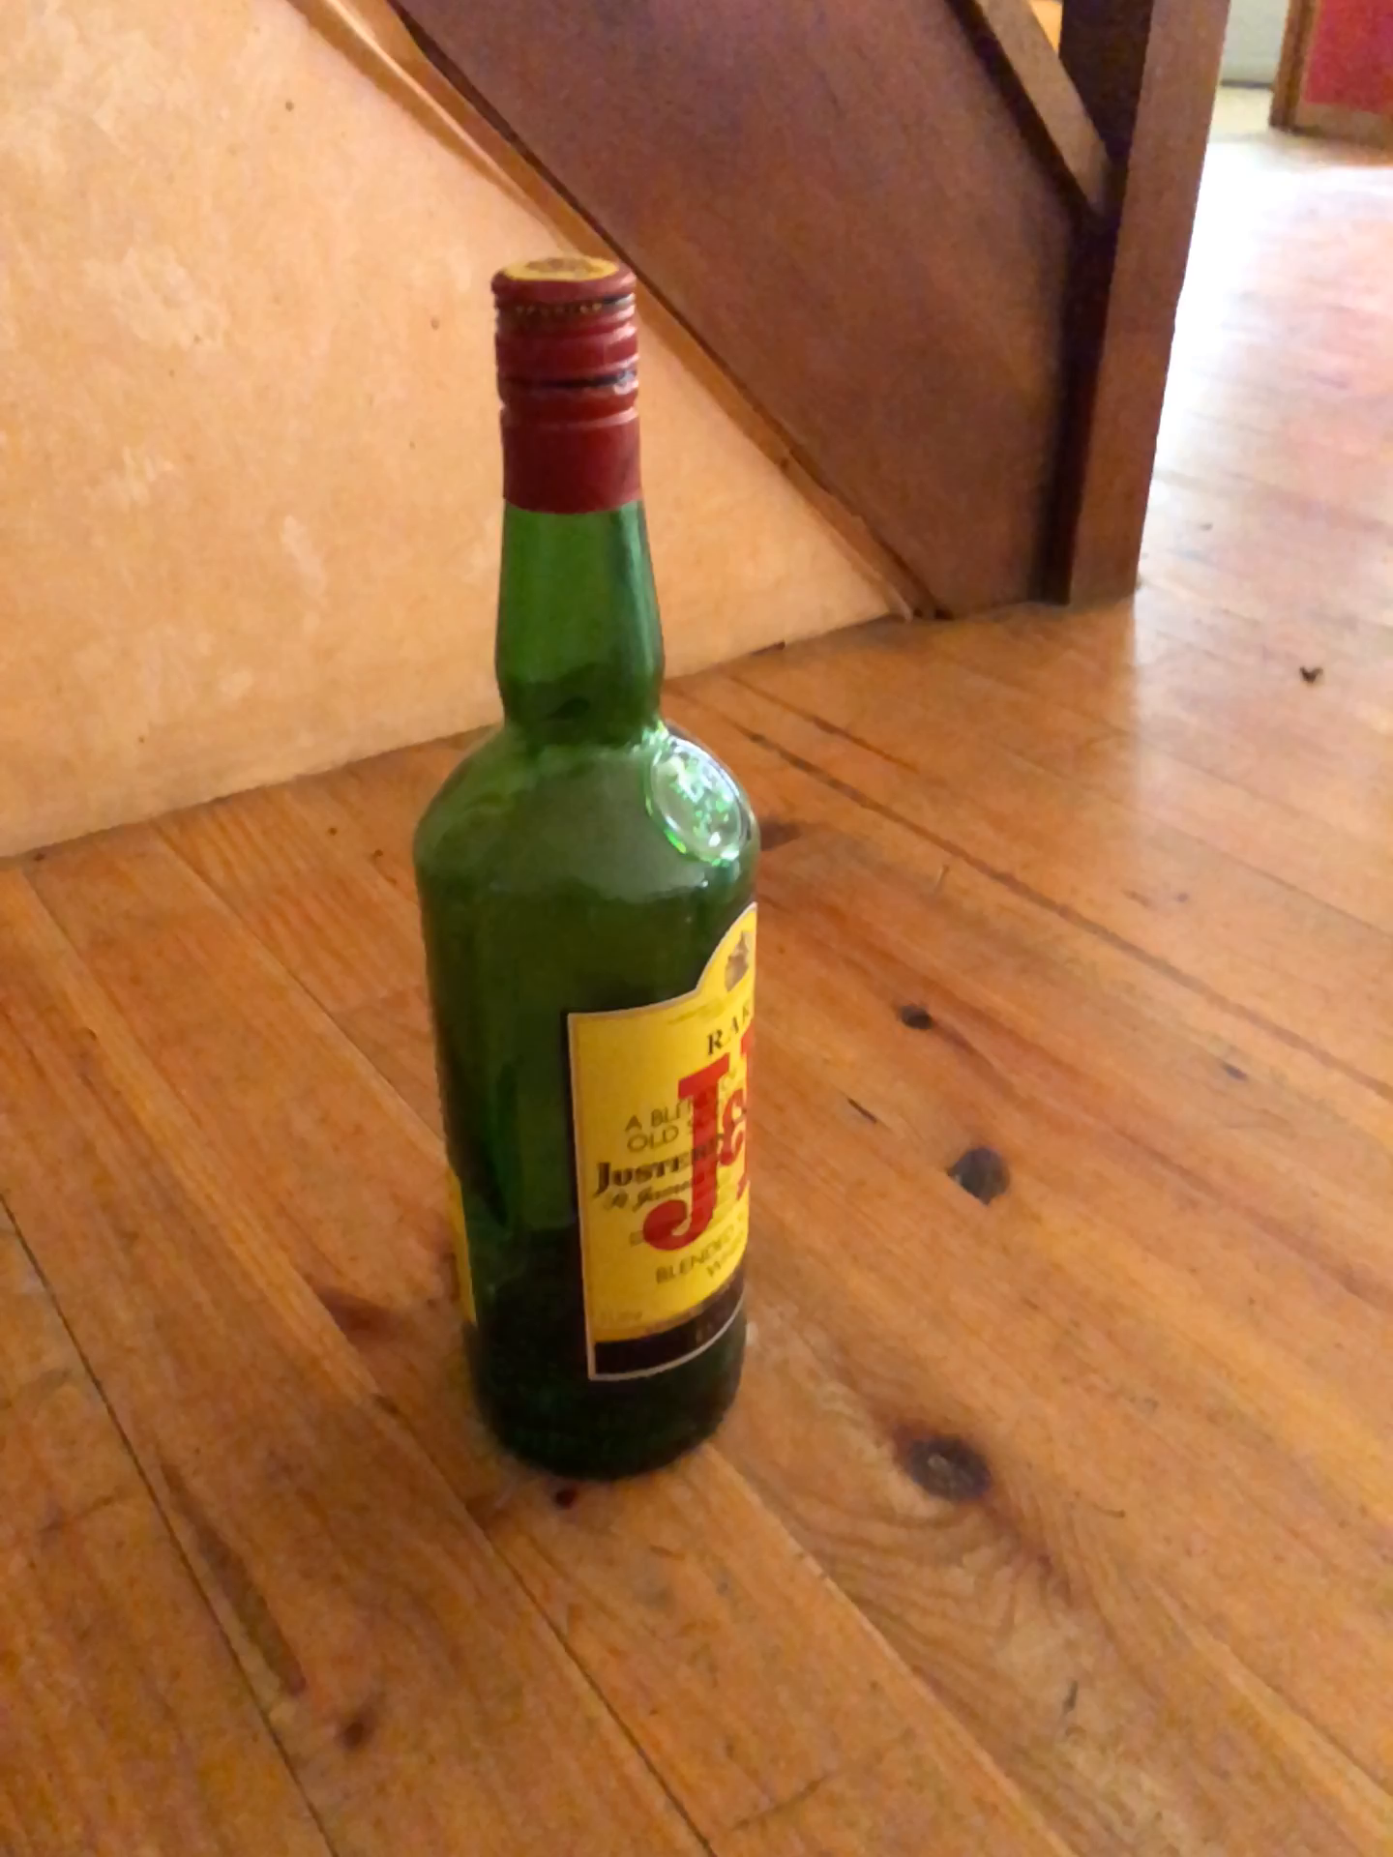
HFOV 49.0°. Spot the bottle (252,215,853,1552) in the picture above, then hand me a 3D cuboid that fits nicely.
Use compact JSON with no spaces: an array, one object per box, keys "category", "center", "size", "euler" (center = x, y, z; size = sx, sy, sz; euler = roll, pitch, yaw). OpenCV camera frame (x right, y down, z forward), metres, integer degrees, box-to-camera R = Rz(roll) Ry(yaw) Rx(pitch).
[{"category":"bottle","center":[-0.026,0.004,0.382],"size":[0.080,0.318,0.091],"euler":[17,36,24]}]
